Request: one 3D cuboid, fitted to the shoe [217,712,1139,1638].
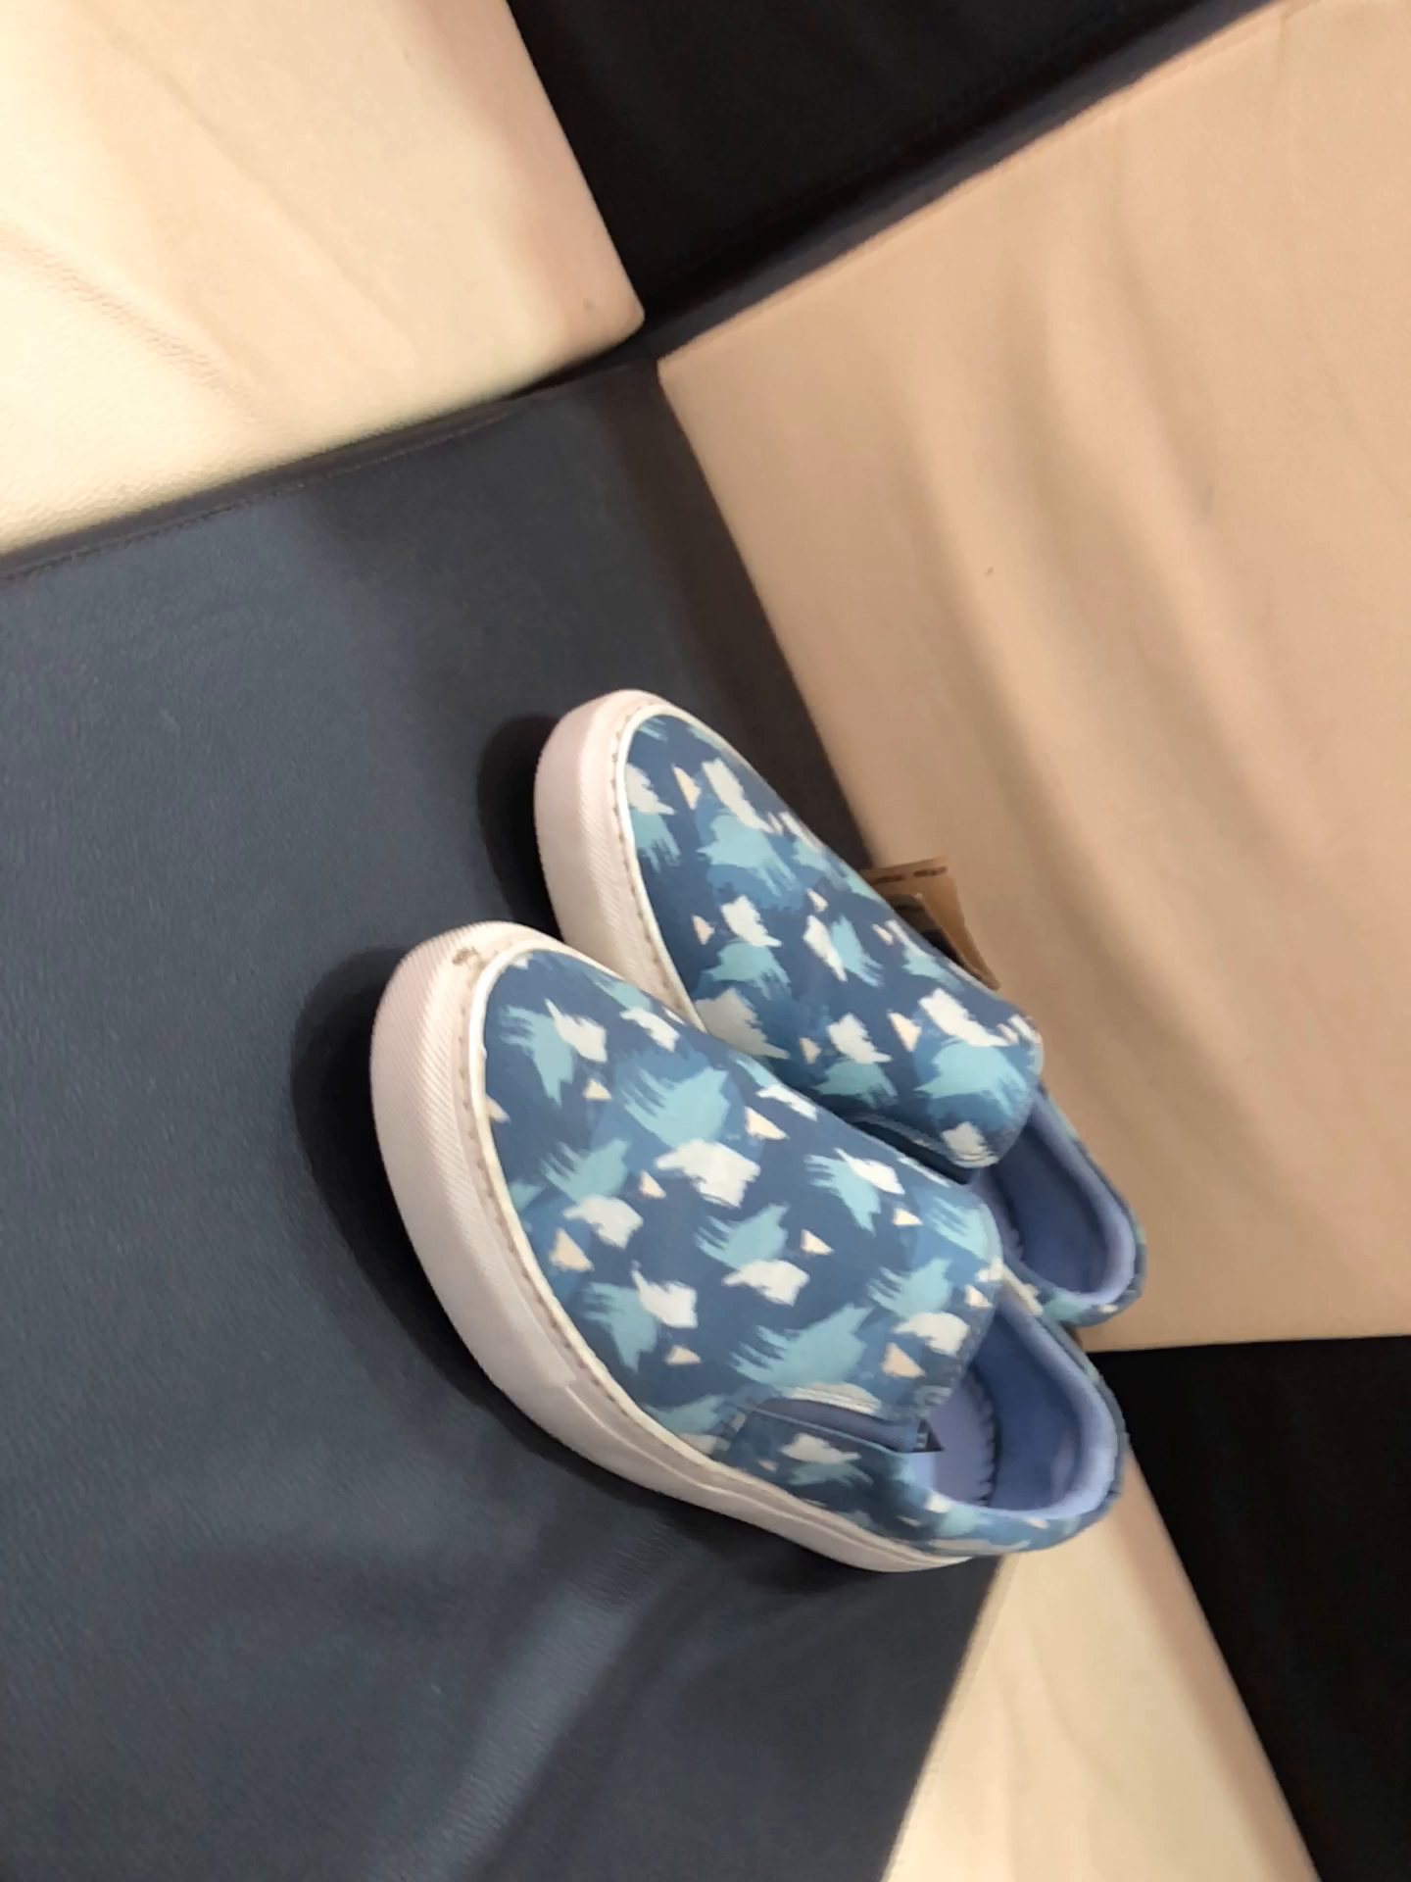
[{"bbox_3d":[0.020,0.085,0.438,0.282,0.089,0.120,47,44,-36],"label":"shoe"}]

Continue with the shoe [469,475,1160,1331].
[{"bbox_3d":[0.056,0.007,0.486,0.282,0.060,0.110,46,44,-36],"label":"shoe"}]
